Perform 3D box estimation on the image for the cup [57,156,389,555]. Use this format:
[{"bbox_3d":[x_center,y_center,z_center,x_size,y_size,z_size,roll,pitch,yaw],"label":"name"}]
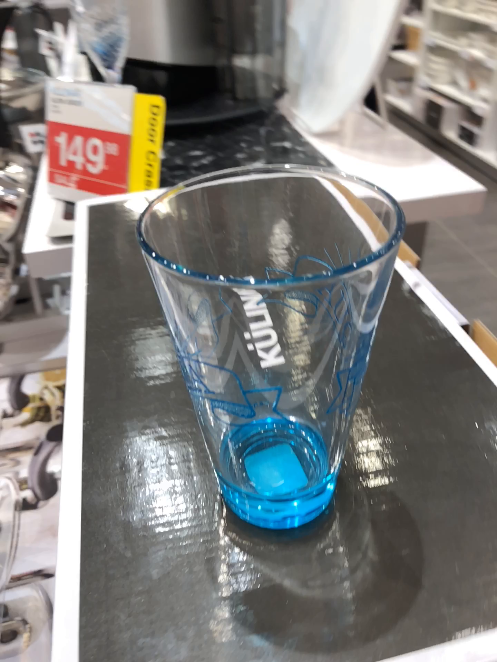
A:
[{"bbox_3d":[0.000,0.007,0.196,0.080,0.110,0.080,-2,37,1],"label":"cup"}]
